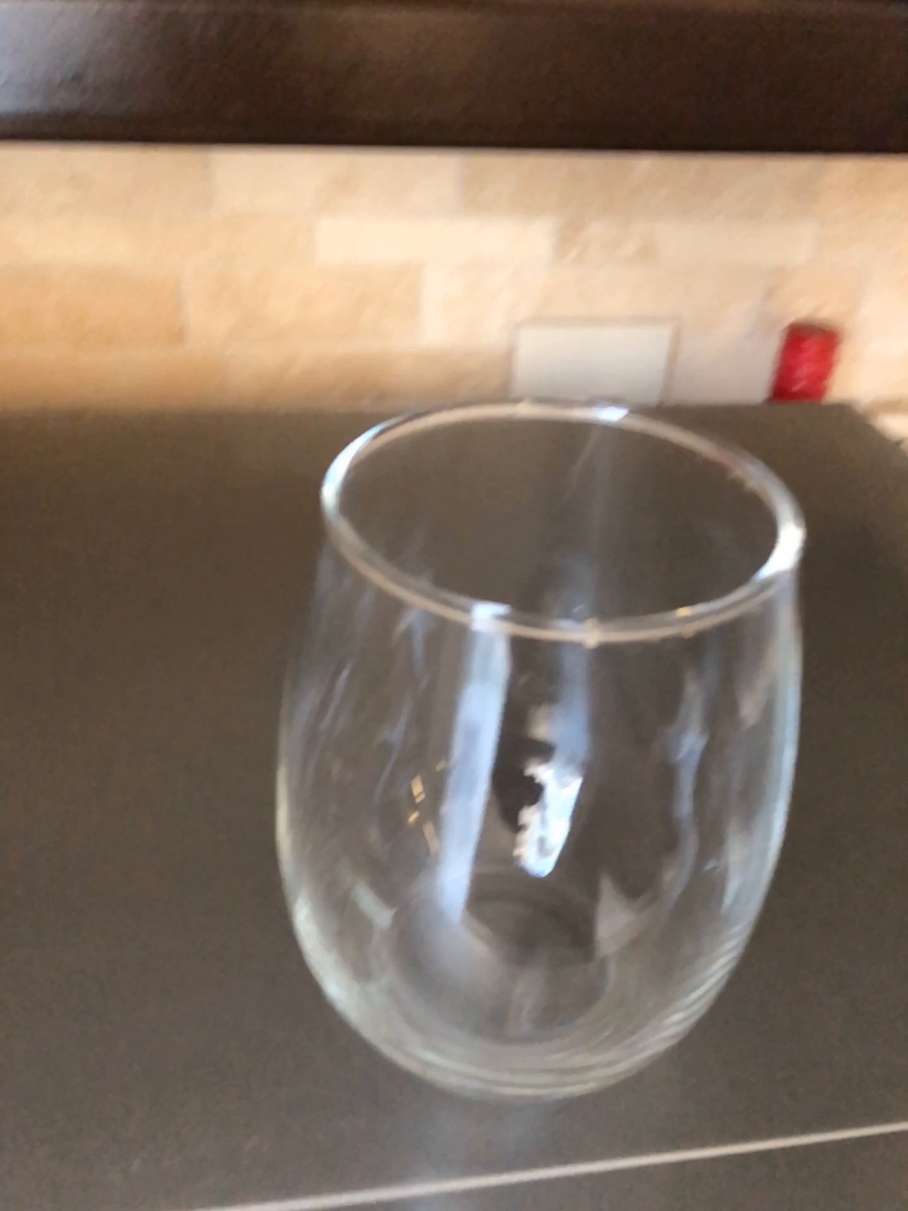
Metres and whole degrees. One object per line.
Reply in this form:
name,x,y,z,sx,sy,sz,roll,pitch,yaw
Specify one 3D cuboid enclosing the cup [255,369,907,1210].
cup,0.013,0.026,0.175,0.078,0.104,0.083,2,34,-1
